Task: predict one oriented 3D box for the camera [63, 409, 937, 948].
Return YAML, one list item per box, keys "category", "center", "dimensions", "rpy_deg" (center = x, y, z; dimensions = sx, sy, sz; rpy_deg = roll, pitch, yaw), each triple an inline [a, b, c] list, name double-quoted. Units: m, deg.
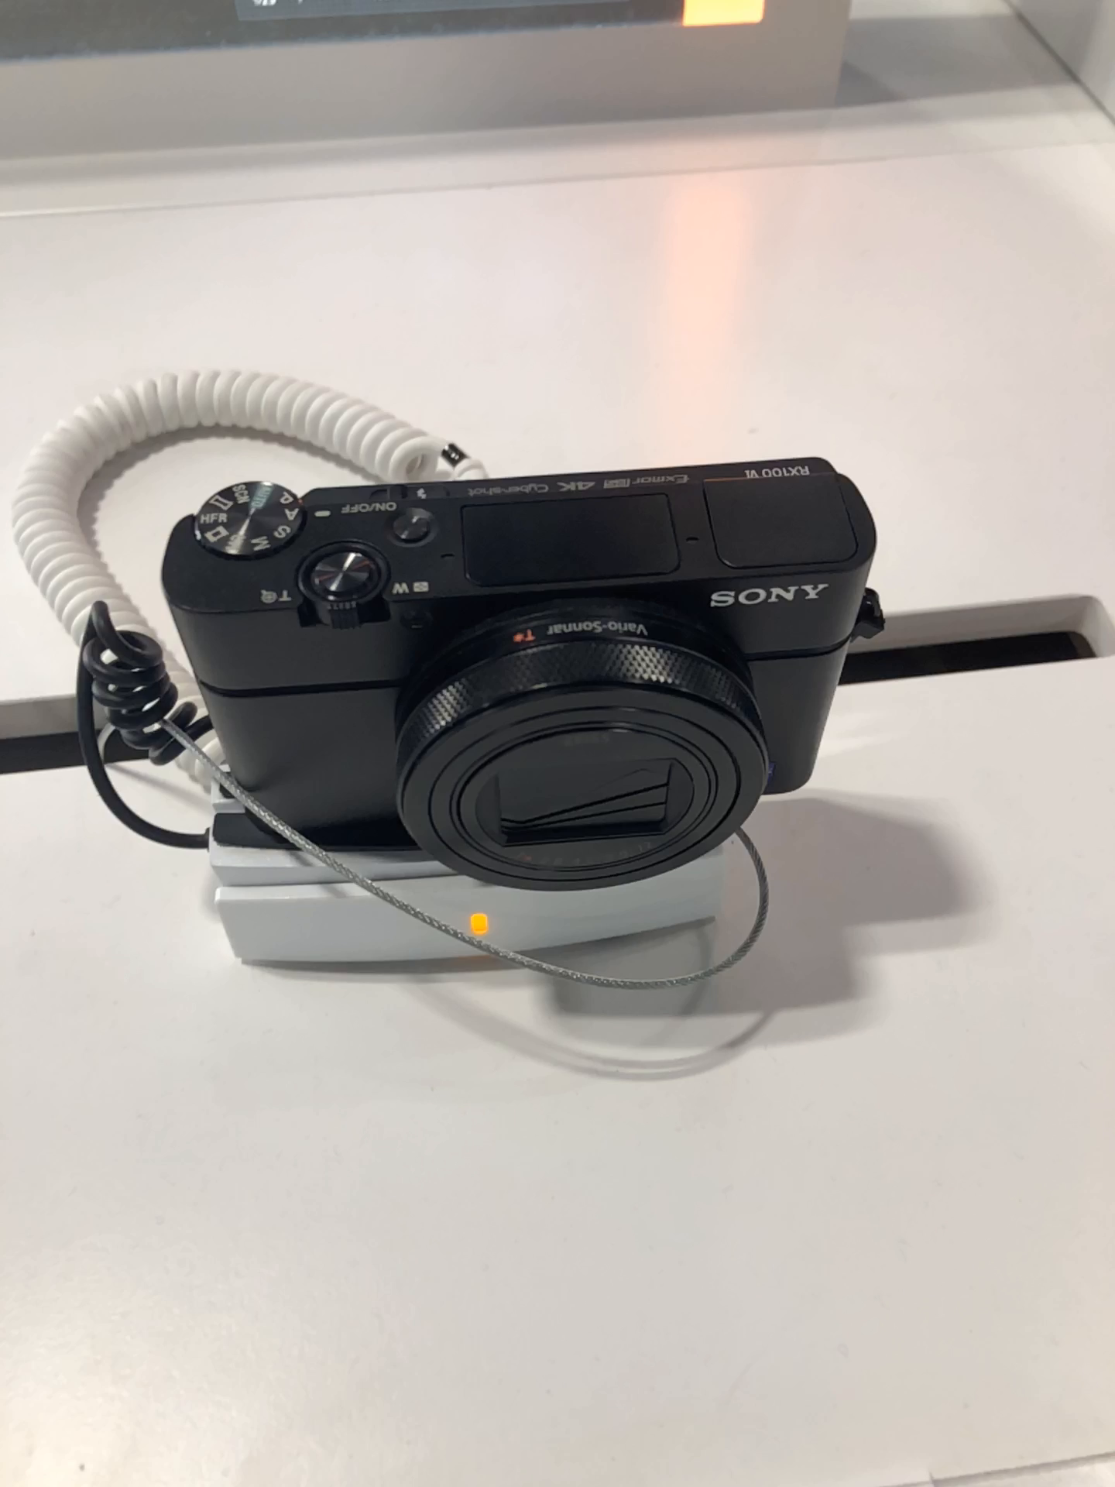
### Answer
- category: "camera"
  center: [-0.008, -0.008, 0.196]
  dimensions: [0.110, 0.070, 0.040]
  rpy_deg: [-5, 51, -4]
